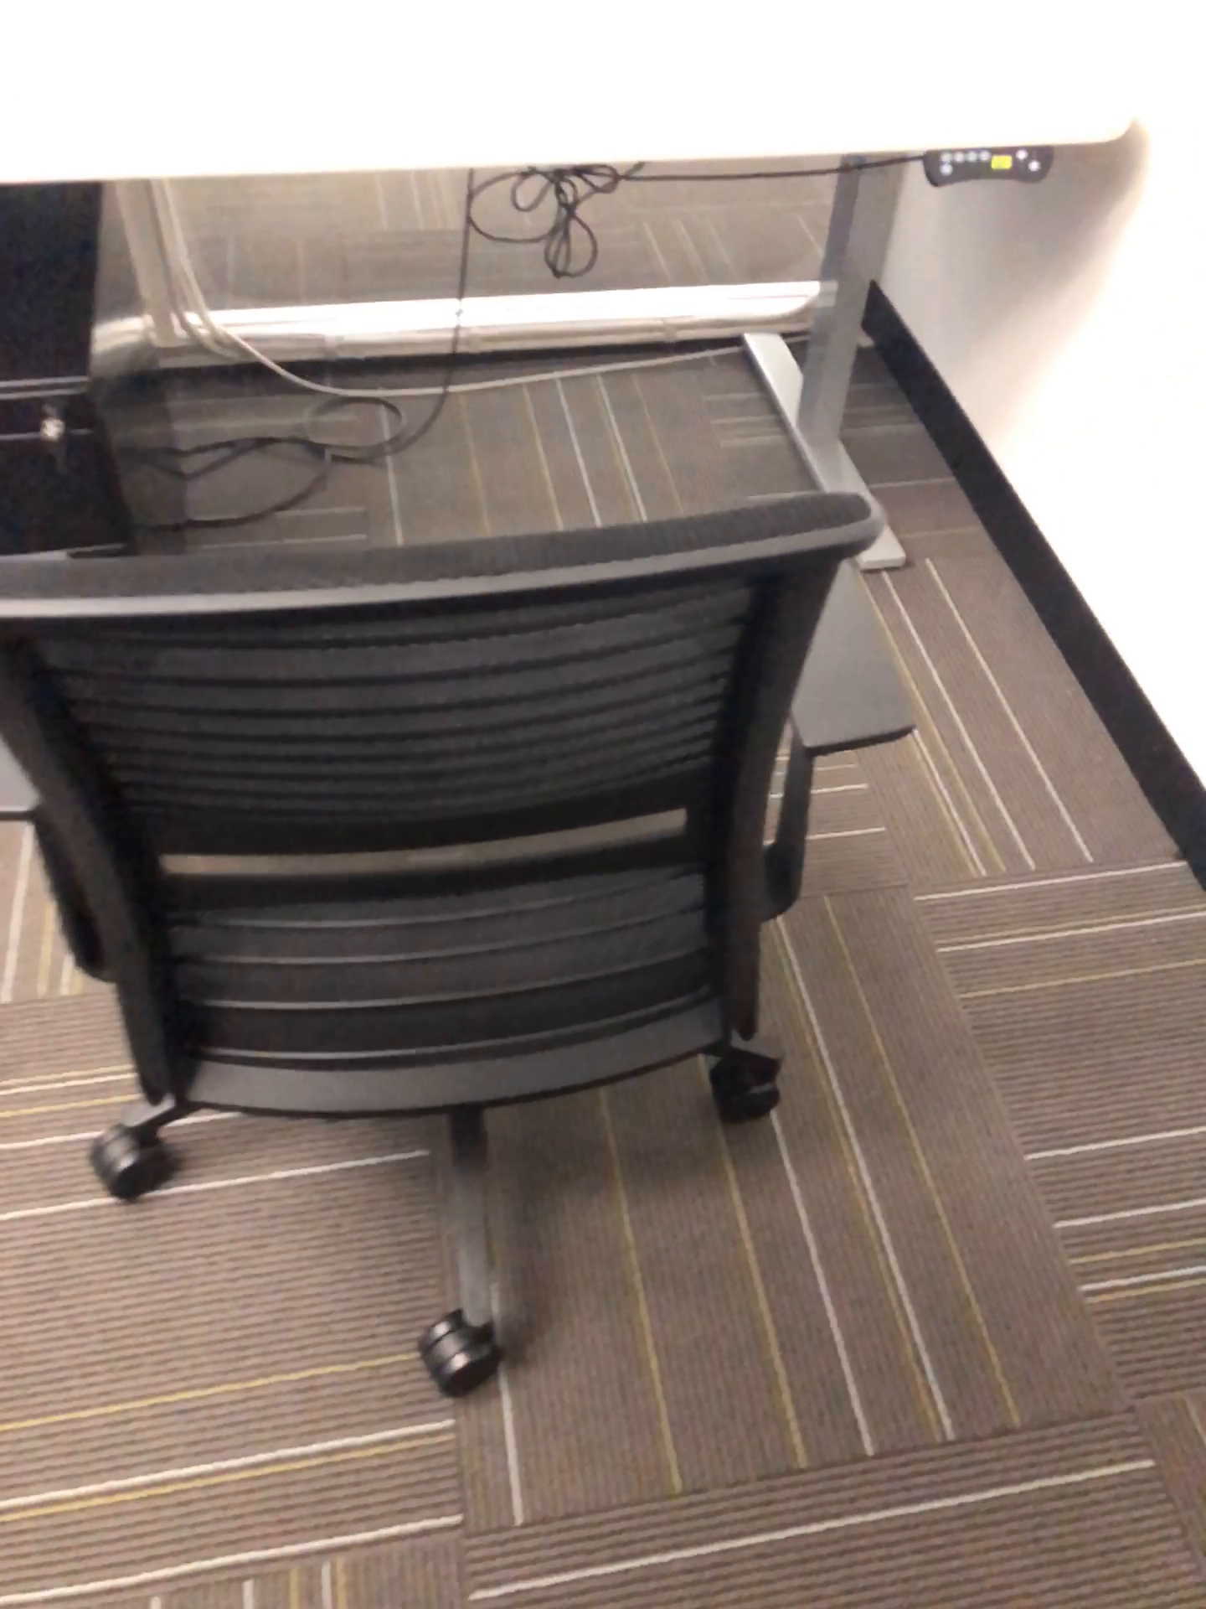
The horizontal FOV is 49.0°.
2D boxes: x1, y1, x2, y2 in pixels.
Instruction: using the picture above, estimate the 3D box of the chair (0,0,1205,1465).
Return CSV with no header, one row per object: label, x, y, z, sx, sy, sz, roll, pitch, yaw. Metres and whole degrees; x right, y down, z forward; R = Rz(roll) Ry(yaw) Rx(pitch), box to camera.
chair,-0.163,-0.051,1.047,0.720,0.906,0.683,-7,48,-9
